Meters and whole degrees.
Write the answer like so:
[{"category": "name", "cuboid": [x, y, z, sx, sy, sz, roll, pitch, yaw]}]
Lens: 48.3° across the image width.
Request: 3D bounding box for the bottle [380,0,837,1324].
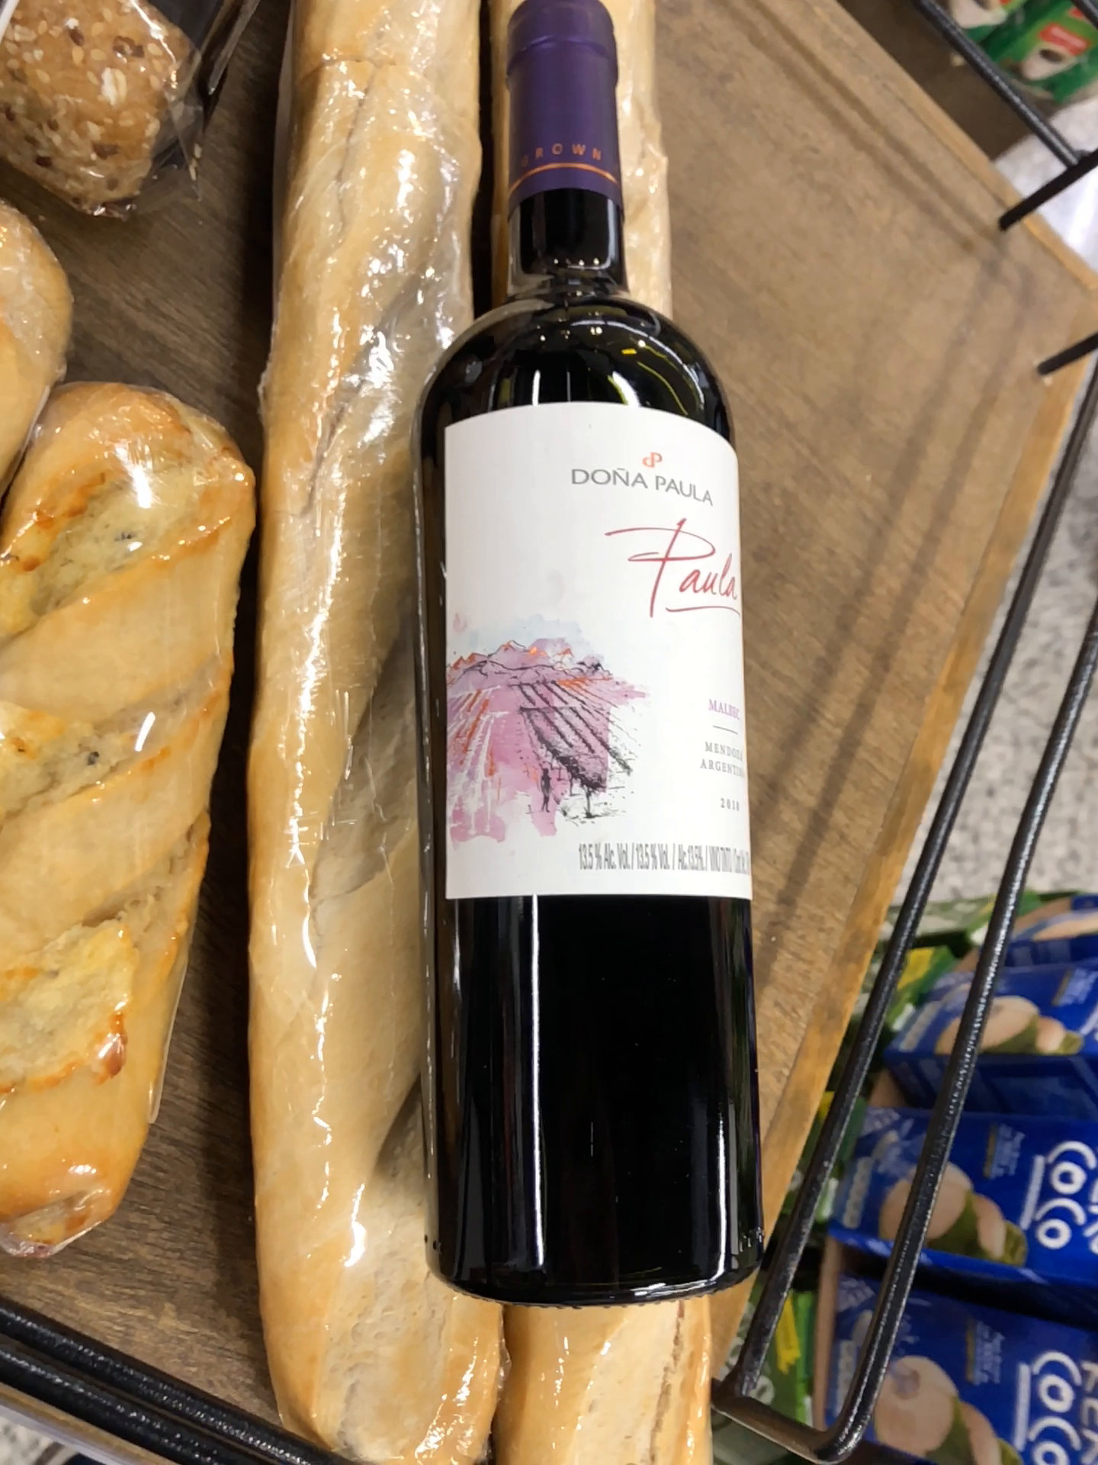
[{"category": "bottle", "cuboid": [0.006, -0.041, 0.276, 0.070, 0.060, 0.300, 4, 77, -28]}]
